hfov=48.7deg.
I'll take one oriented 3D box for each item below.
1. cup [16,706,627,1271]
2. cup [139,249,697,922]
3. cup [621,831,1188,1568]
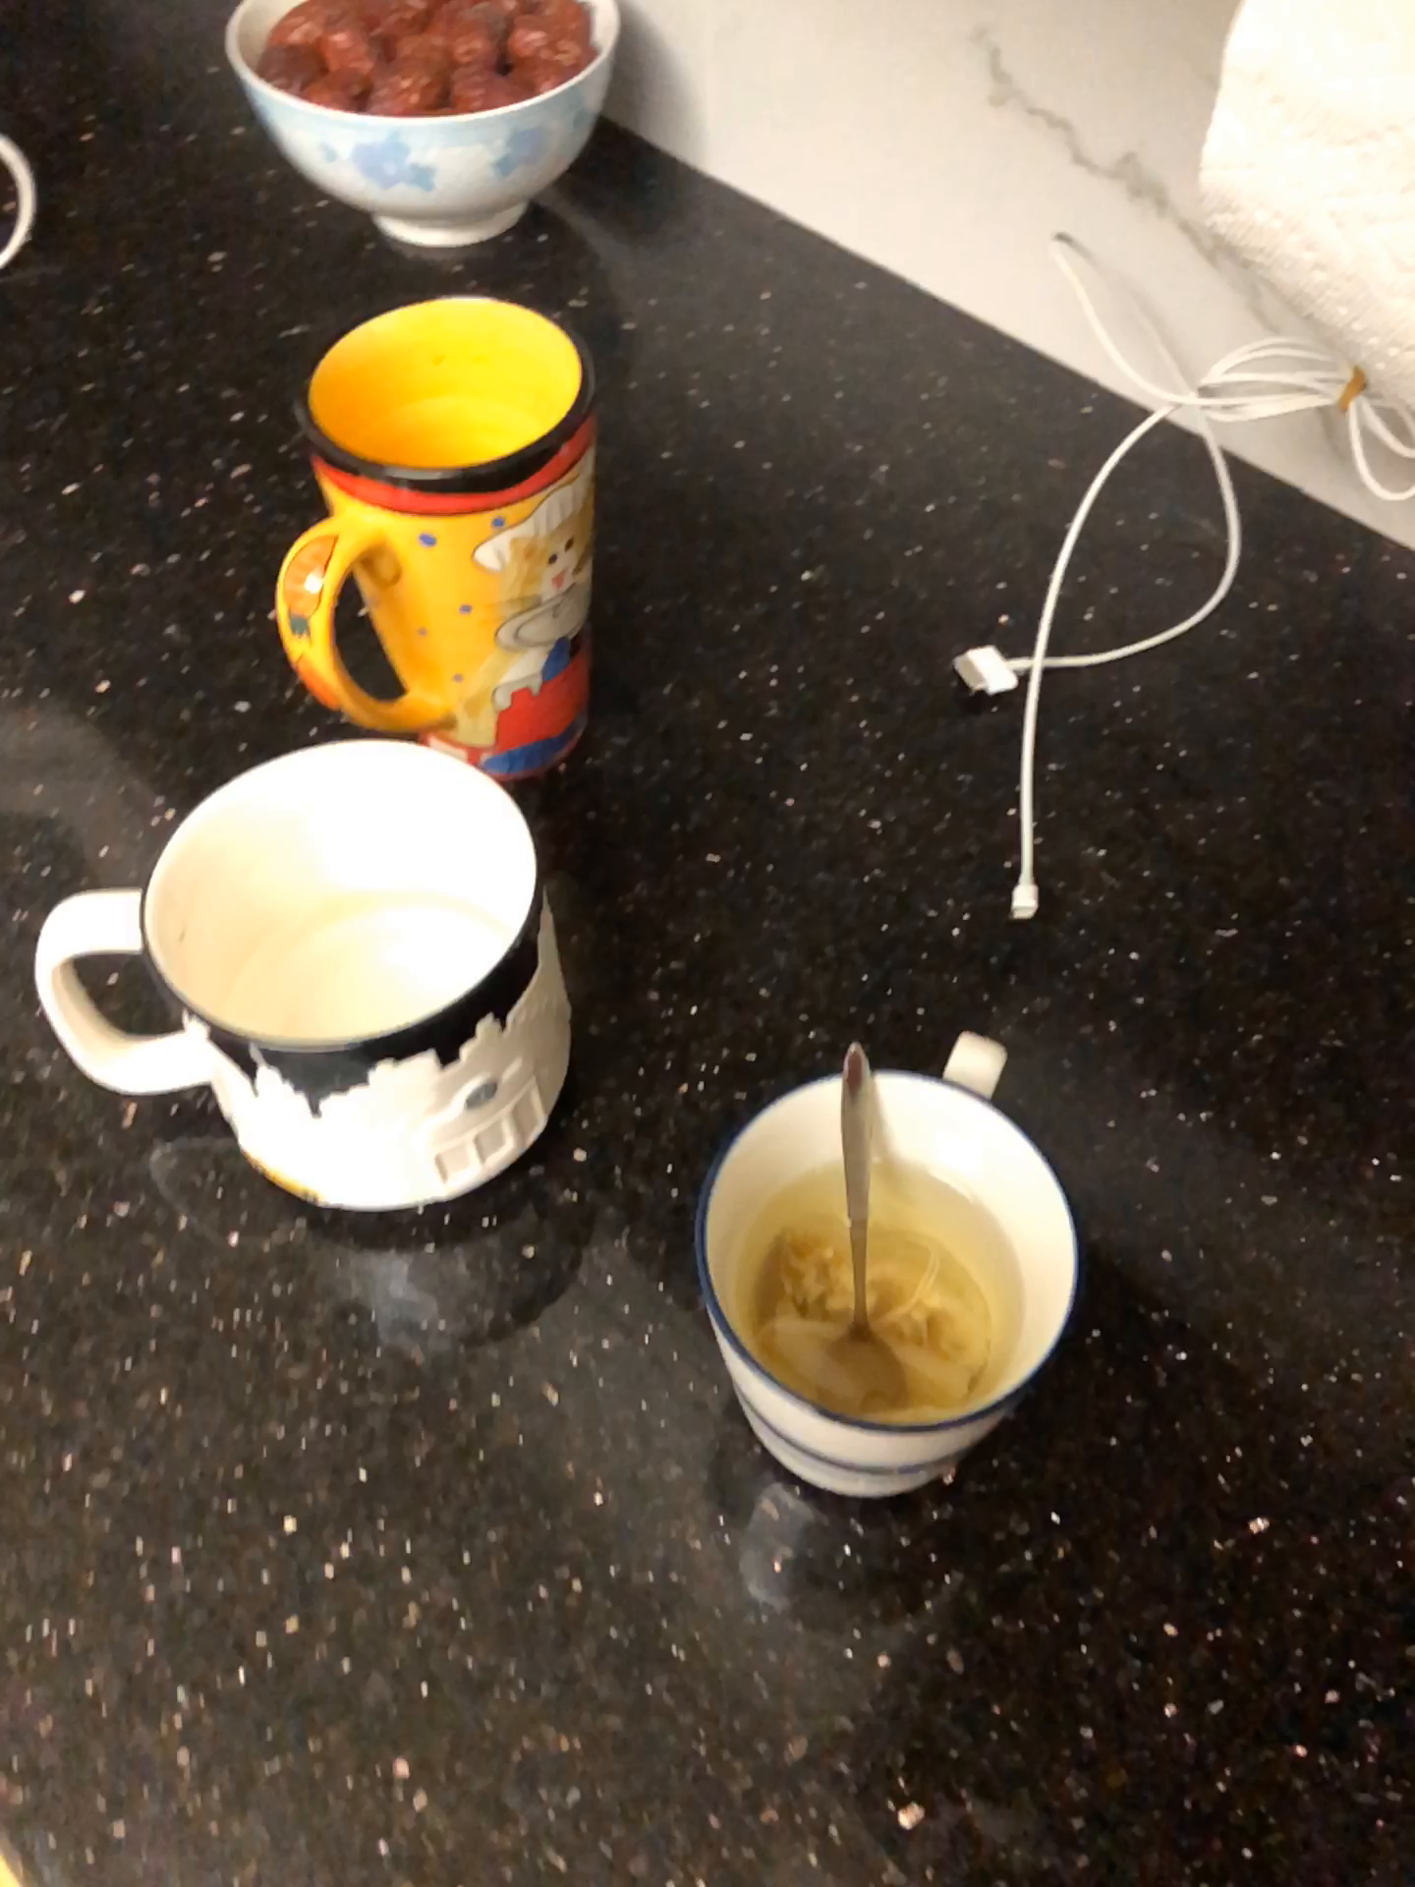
[{"bbox_3d":[-0.101,0.013,0.441,0.140,0.090,0.110,-8,54,-5],"label":"cup"},{"bbox_3d":[-0.078,-0.112,0.493,0.090,0.129,0.140,24,58,17],"label":"cup"},{"bbox_3d":[0.049,0.061,0.383,0.090,0.090,0.130,18,56,13],"label":"cup"}]
